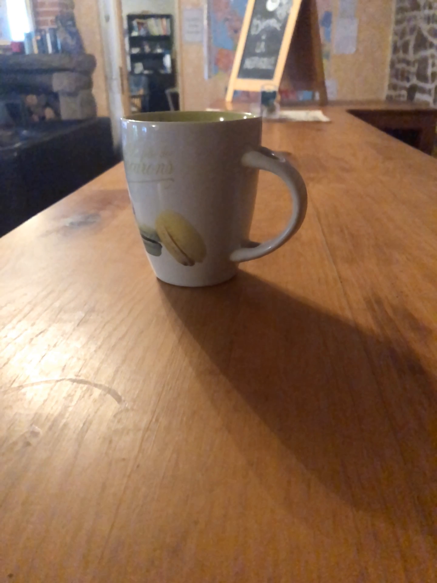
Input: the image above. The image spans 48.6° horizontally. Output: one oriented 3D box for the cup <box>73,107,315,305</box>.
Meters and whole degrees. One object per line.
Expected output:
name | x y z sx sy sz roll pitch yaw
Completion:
cup | -0.010 -0.066 0.323 0.120 0.099 0.098 10 26 23
